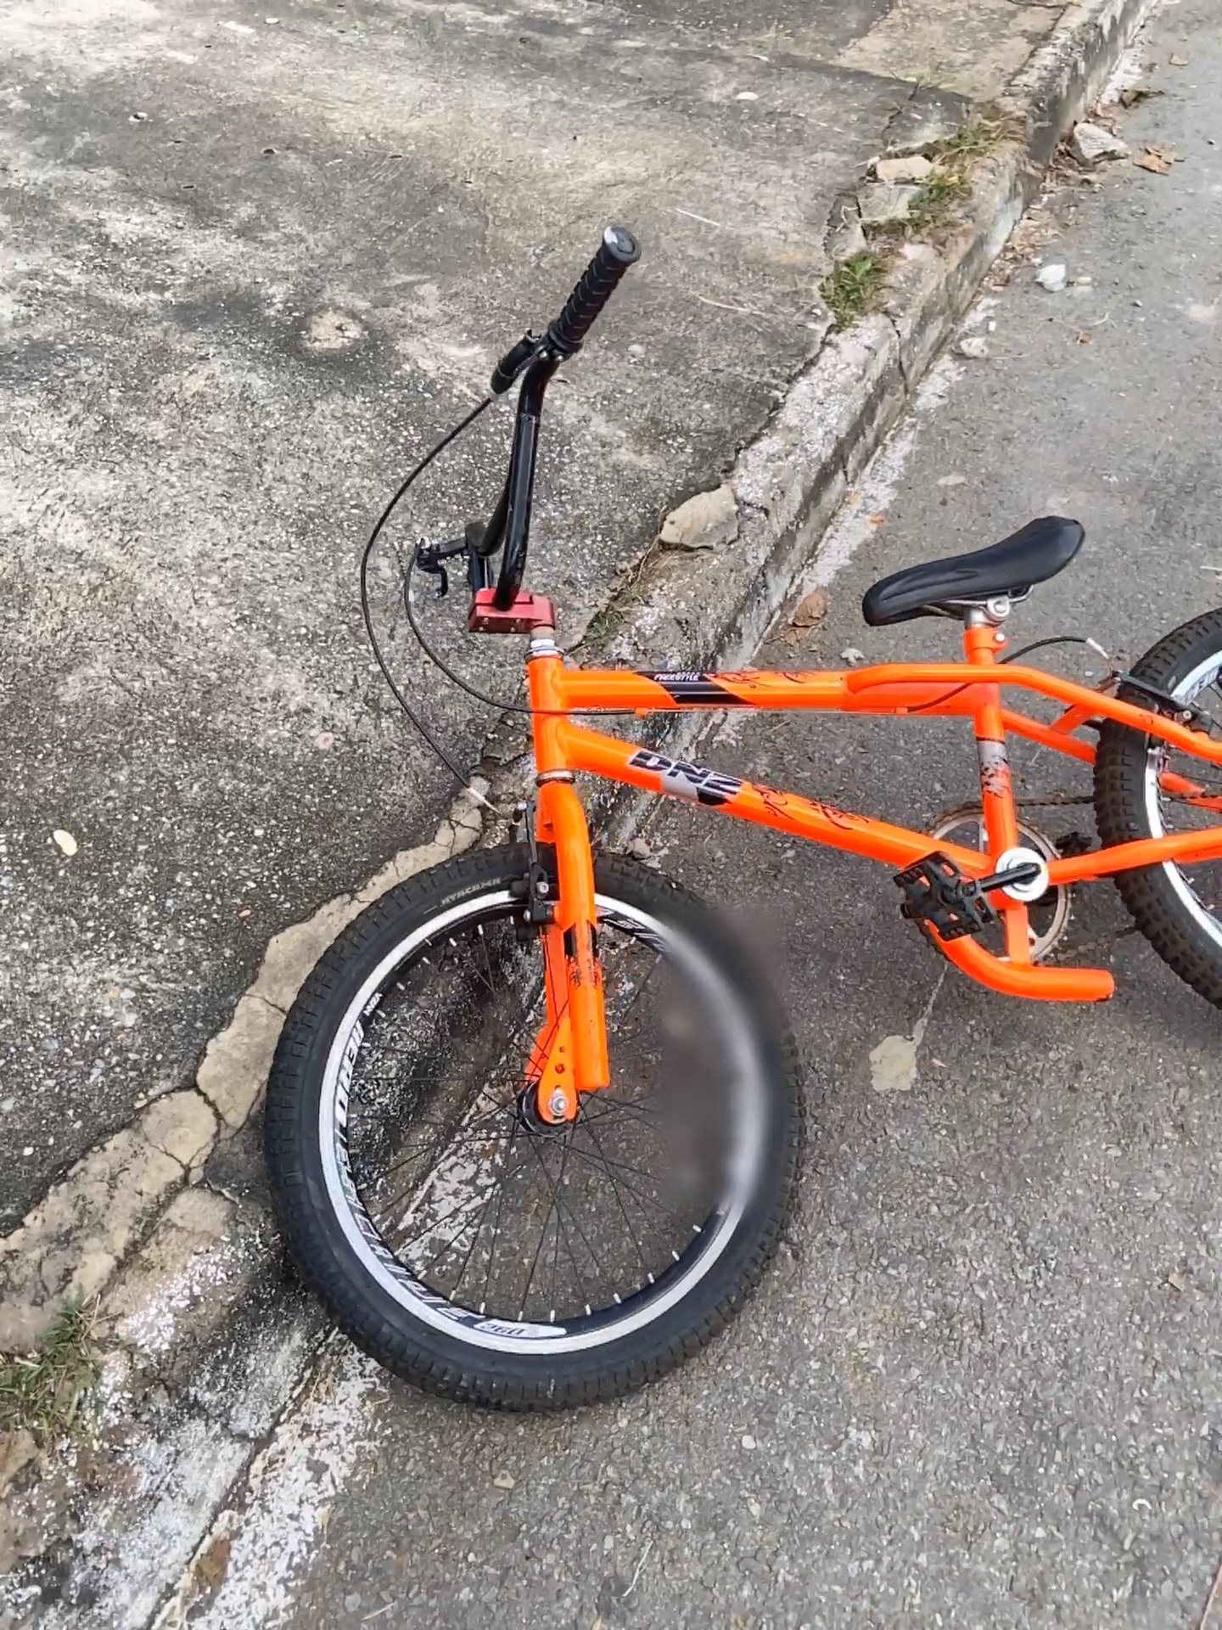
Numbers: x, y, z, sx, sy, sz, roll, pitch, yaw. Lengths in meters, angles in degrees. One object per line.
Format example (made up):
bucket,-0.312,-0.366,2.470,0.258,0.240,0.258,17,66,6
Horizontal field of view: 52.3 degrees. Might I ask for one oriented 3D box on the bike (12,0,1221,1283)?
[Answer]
bike,0.278,-0.253,1.332,1.354,0.857,0.749,-14,46,-12
